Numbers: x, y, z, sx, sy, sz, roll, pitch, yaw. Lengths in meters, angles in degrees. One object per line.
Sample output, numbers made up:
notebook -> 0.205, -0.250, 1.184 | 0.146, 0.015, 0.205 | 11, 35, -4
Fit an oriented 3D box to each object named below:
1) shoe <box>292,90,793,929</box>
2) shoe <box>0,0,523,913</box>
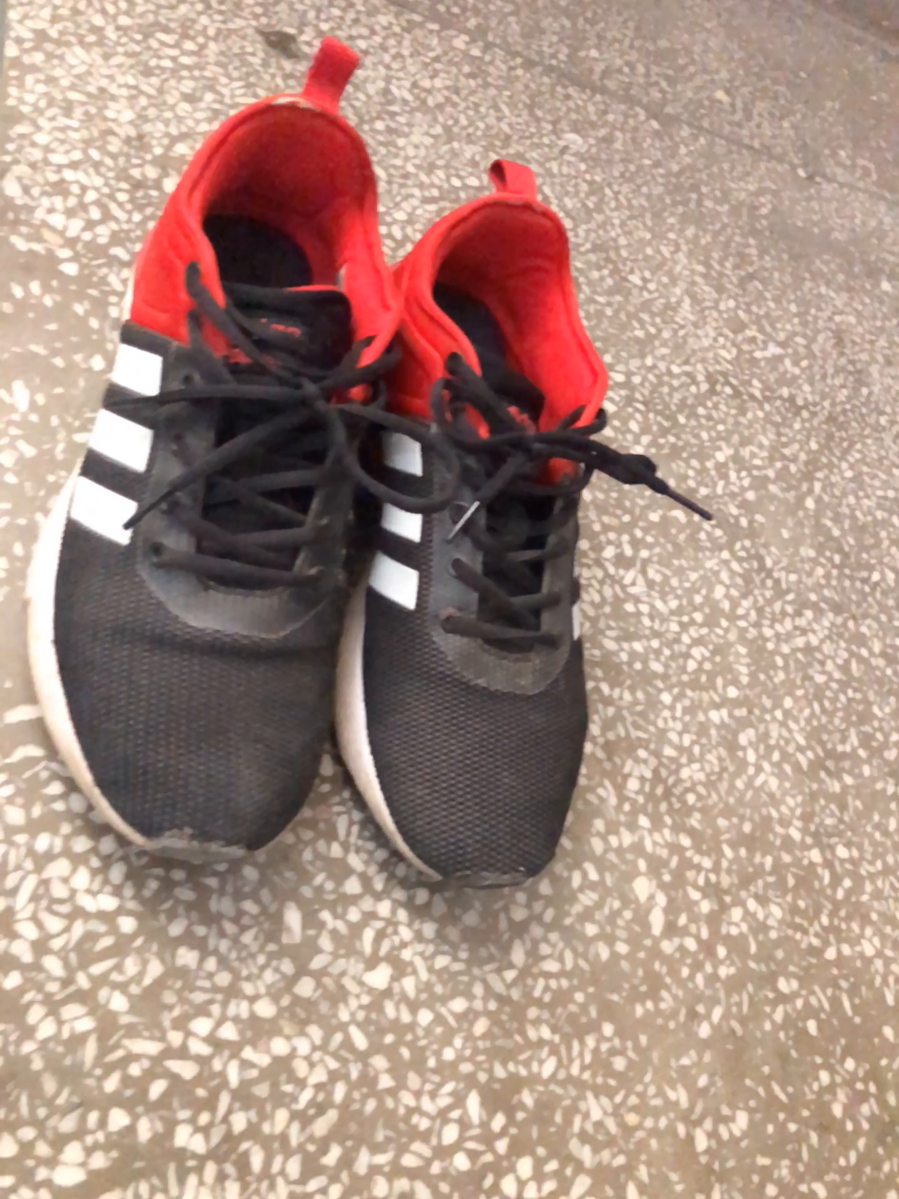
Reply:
shoe -> 0.022, -0.034, 0.439 | 0.130, 0.140, 0.320 | 11, 61, -25
shoe -> -0.071, -0.053, 0.388 | 0.130, 0.140, 0.310 | 12, 60, -25
